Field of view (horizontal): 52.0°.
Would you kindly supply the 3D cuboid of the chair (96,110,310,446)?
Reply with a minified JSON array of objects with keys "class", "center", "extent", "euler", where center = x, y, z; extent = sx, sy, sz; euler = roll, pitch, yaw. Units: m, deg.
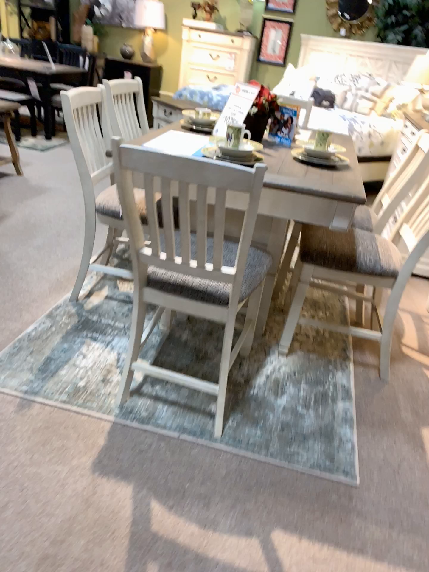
[{"class":"chair","center":[-0.044,-0.057,1.549],"extent":[0.490,0.925,0.593],"euler":[15,29,10]}]
